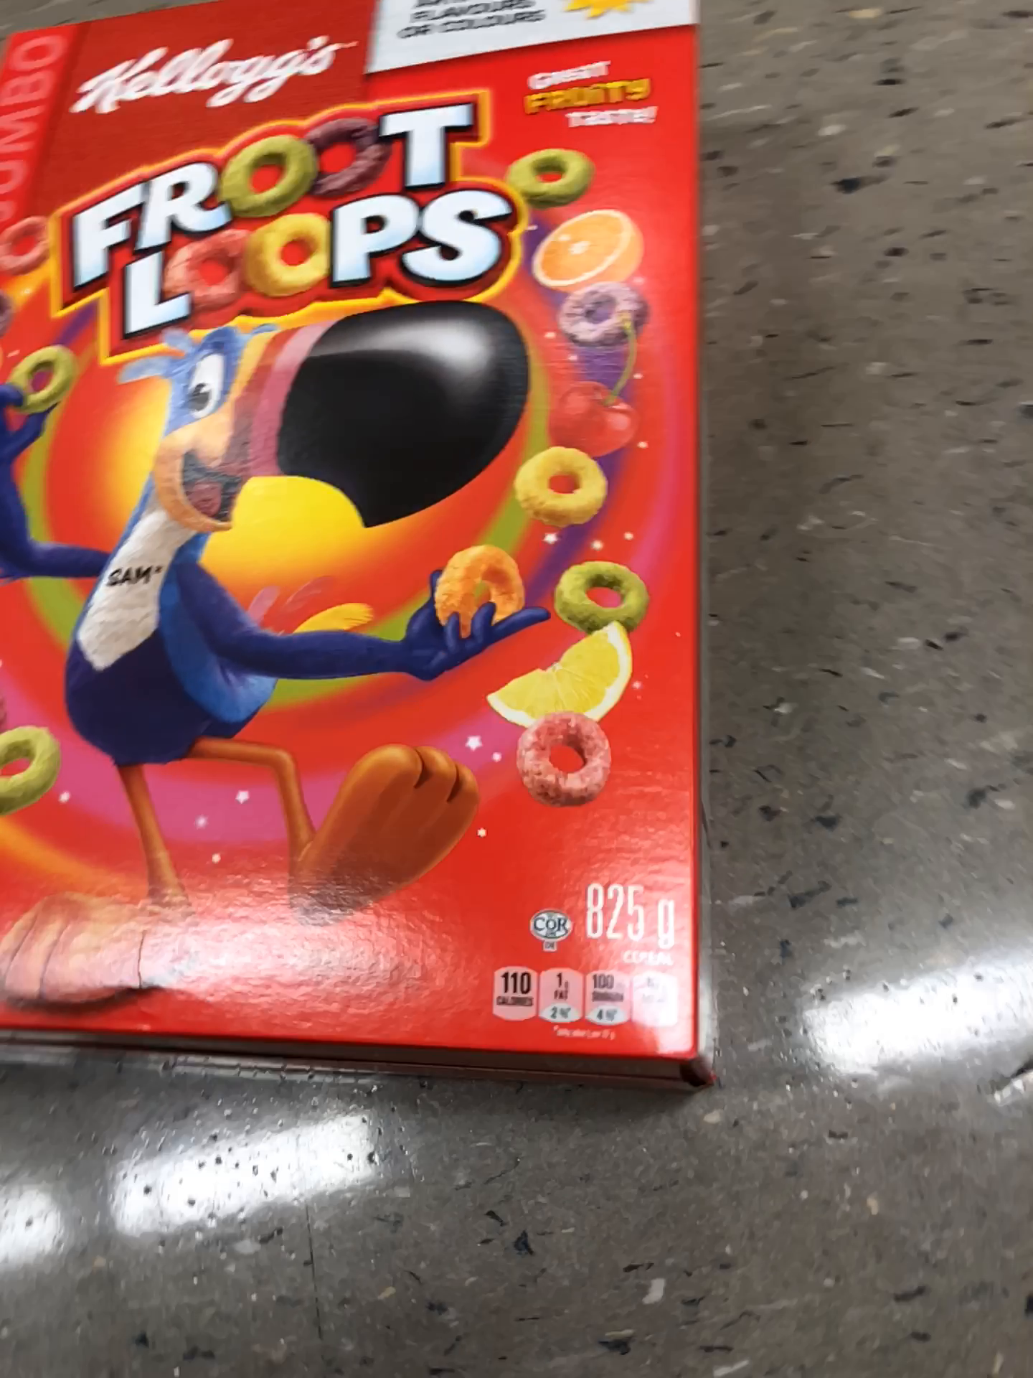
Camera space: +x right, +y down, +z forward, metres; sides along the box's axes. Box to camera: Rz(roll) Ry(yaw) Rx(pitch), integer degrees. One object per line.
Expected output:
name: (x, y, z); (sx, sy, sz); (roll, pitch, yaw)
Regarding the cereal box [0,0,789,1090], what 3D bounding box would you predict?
cereal box: (-0.068, -0.079, 0.340); (0.270, 0.080, 0.360); (-2, 66, 11)
